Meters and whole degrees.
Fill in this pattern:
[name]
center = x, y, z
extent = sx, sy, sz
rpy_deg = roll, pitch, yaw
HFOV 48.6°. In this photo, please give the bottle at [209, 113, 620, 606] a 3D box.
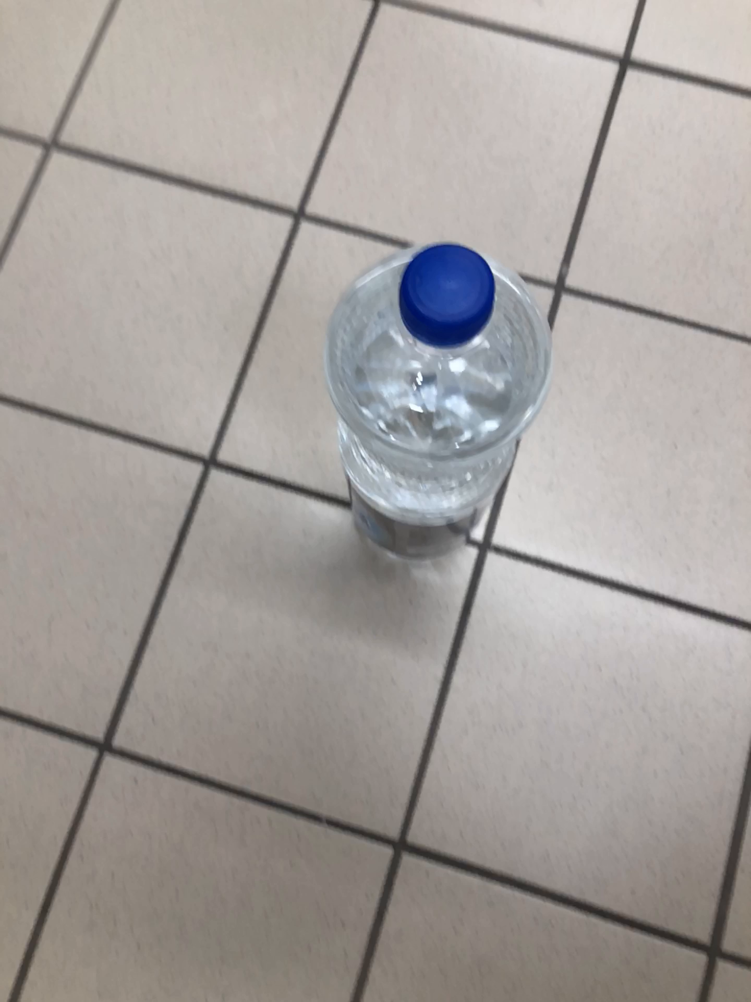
[bottle]
center = 0.012, -0.028, 0.417
extent = 0.100, 0.329, 0.100
rpy_deg = 0, 77, 1
